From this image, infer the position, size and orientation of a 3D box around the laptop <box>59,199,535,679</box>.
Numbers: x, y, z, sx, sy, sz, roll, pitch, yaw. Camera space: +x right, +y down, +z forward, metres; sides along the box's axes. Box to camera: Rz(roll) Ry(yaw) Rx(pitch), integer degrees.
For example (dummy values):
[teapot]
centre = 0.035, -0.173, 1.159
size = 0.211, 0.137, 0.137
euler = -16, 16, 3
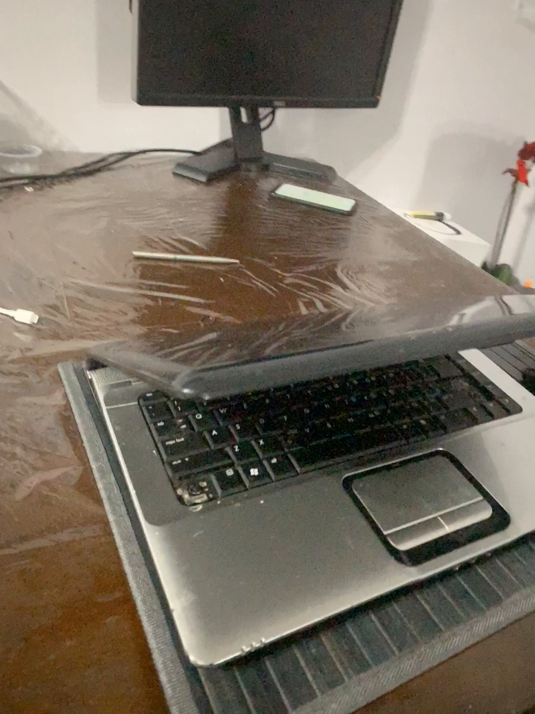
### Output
[laptop]
centre = 0.062, -0.003, 0.377
size = 0.343, 0.108, 0.244
euler = -10, 41, -28
